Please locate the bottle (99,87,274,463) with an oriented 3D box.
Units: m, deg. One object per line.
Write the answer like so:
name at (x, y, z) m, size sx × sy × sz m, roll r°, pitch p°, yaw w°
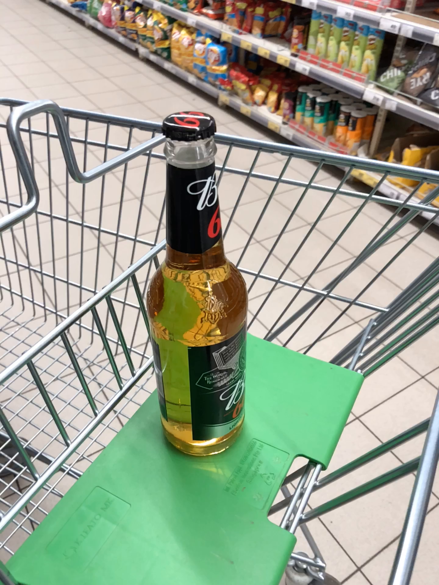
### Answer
bottle at (-0.008, 0.004, 0.314) m, size 0.070 × 0.239 × 0.080 m, roll 5°, pitch 40°, yaw 9°
